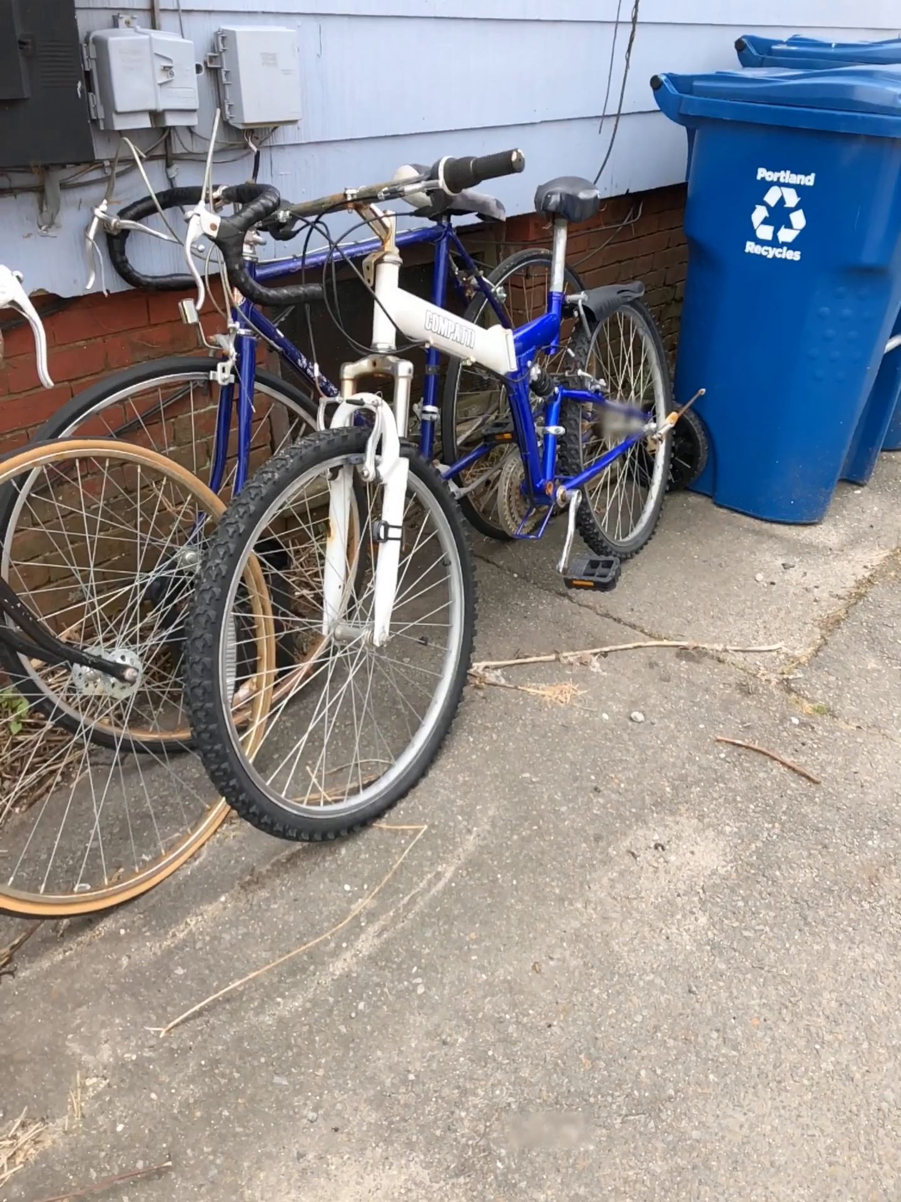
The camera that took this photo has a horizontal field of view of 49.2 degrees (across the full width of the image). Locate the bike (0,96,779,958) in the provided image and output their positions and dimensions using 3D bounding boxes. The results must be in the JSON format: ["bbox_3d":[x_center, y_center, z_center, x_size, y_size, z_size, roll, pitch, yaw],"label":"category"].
[{"bbox_3d":[0.046,-0.365,2.018,0.562,0.978,1.738,18,37,26],"label":"bike"}]
